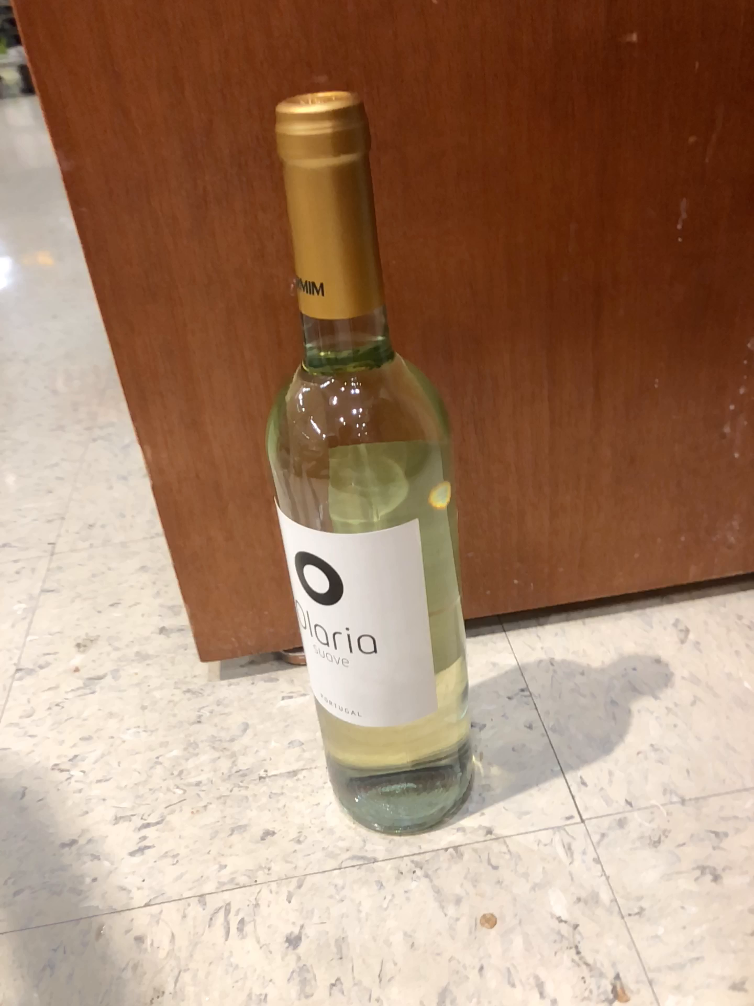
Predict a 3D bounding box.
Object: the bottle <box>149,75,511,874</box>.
[{"bbox_3d":[0.000,0.010,0.339,0.080,0.317,0.070,14,38,29],"label":"bottle"}]
